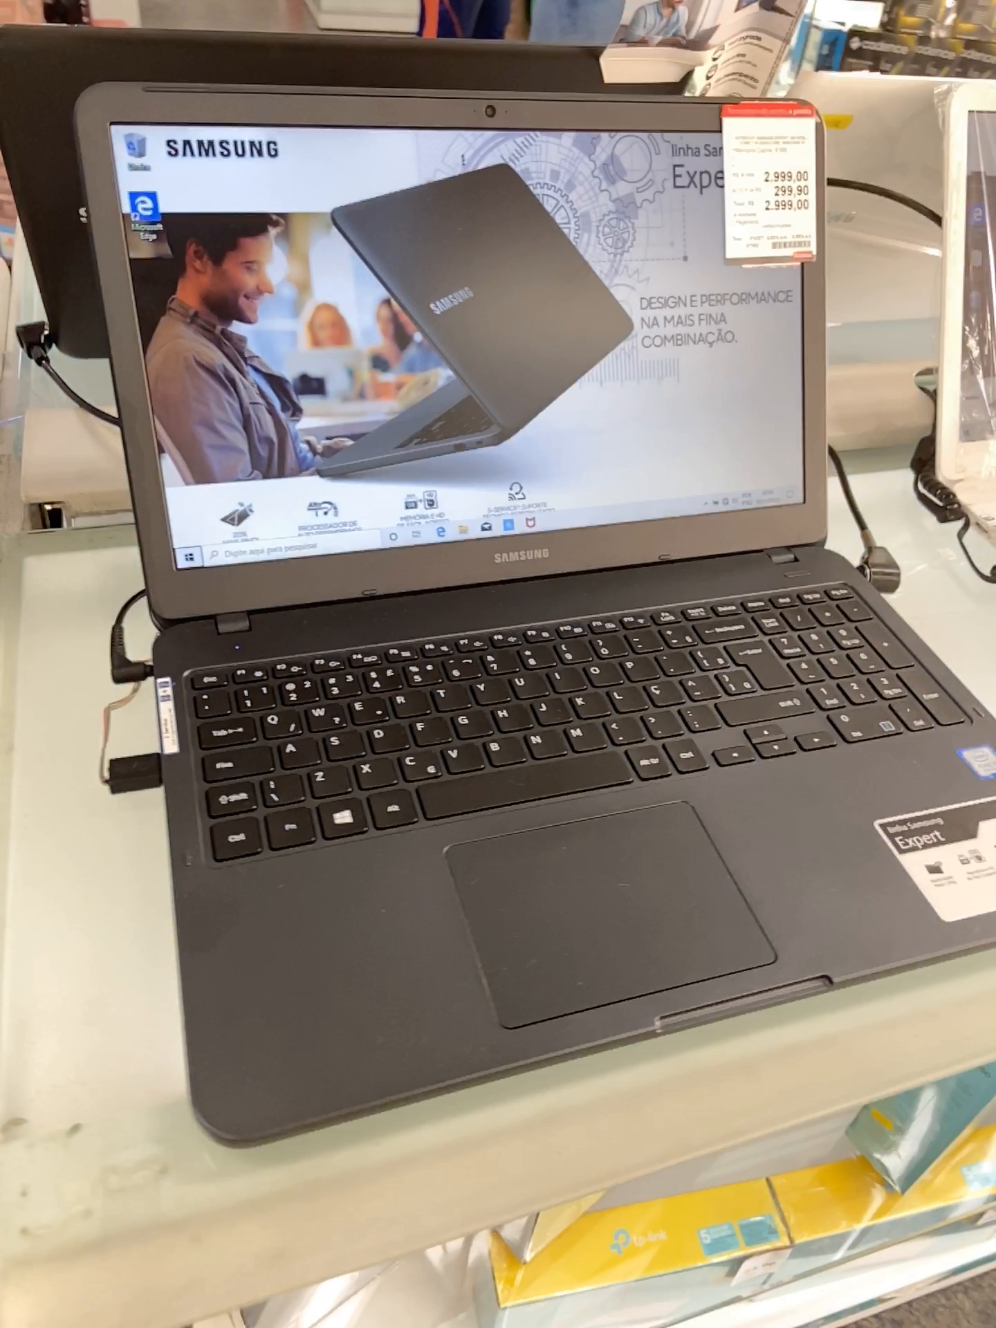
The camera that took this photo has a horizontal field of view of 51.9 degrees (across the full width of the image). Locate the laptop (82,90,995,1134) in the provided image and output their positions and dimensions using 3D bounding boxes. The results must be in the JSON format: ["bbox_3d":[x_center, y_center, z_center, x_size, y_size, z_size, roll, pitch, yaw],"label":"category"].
[{"bbox_3d":[0.042,-0.078,0.434,0.371,0.200,0.370,-8,44,-16],"label":"laptop"}]
